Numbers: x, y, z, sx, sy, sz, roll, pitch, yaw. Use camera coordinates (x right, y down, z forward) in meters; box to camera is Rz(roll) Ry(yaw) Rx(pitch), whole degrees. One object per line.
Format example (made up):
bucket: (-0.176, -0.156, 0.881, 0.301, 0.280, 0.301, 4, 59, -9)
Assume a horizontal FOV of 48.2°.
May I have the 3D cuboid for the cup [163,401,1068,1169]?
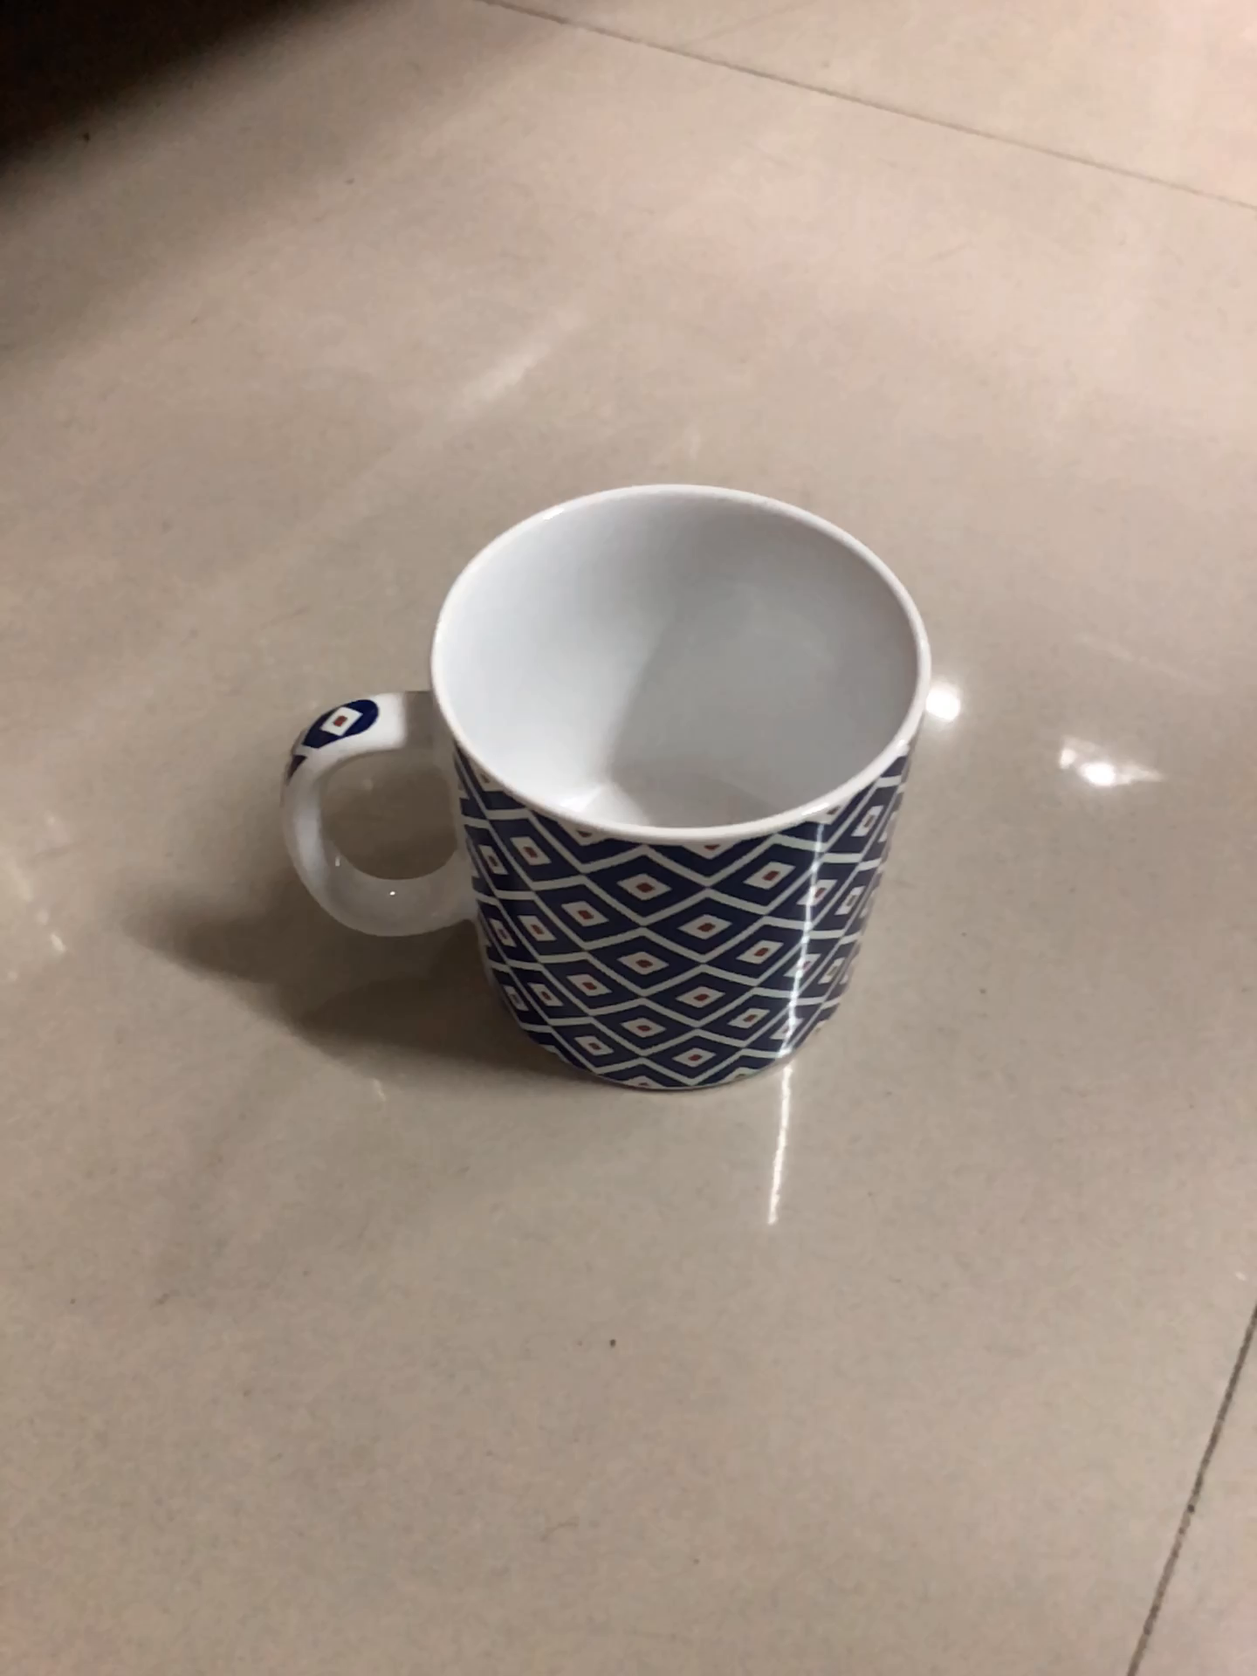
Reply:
cup: (-0.005, -0.008, 0.226, 0.110, 0.080, 0.080, -6, 51, -5)
